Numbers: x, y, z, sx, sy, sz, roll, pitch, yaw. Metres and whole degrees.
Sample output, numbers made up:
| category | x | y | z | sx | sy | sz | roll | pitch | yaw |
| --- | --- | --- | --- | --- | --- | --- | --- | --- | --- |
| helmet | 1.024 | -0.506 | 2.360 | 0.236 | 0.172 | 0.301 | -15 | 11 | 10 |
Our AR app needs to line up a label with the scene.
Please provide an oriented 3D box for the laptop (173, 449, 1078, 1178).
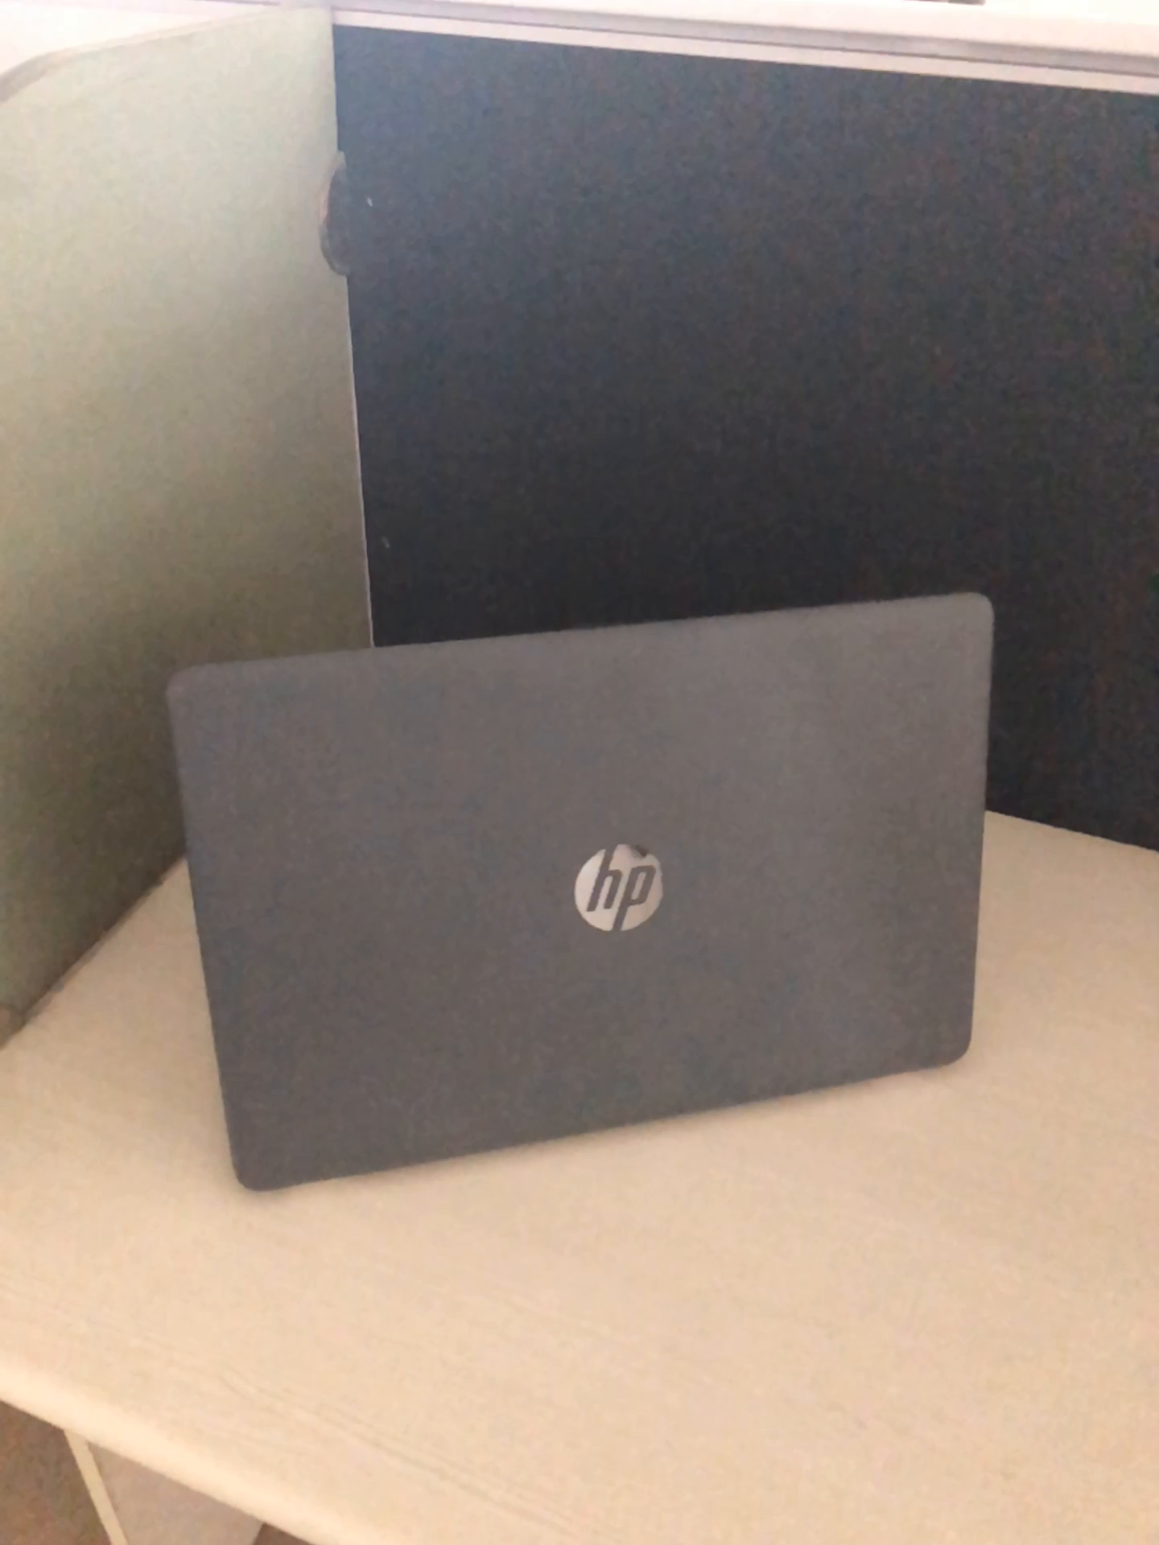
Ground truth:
| category | x | y | z | sx | sy | sz | roll | pitch | yaw |
| --- | --- | --- | --- | --- | --- | --- | --- | --- | --- |
| laptop | -0.001 | 0.003 | 0.643 | 0.359 | 0.215 | 0.239 | -7 | 38 | -11 |
